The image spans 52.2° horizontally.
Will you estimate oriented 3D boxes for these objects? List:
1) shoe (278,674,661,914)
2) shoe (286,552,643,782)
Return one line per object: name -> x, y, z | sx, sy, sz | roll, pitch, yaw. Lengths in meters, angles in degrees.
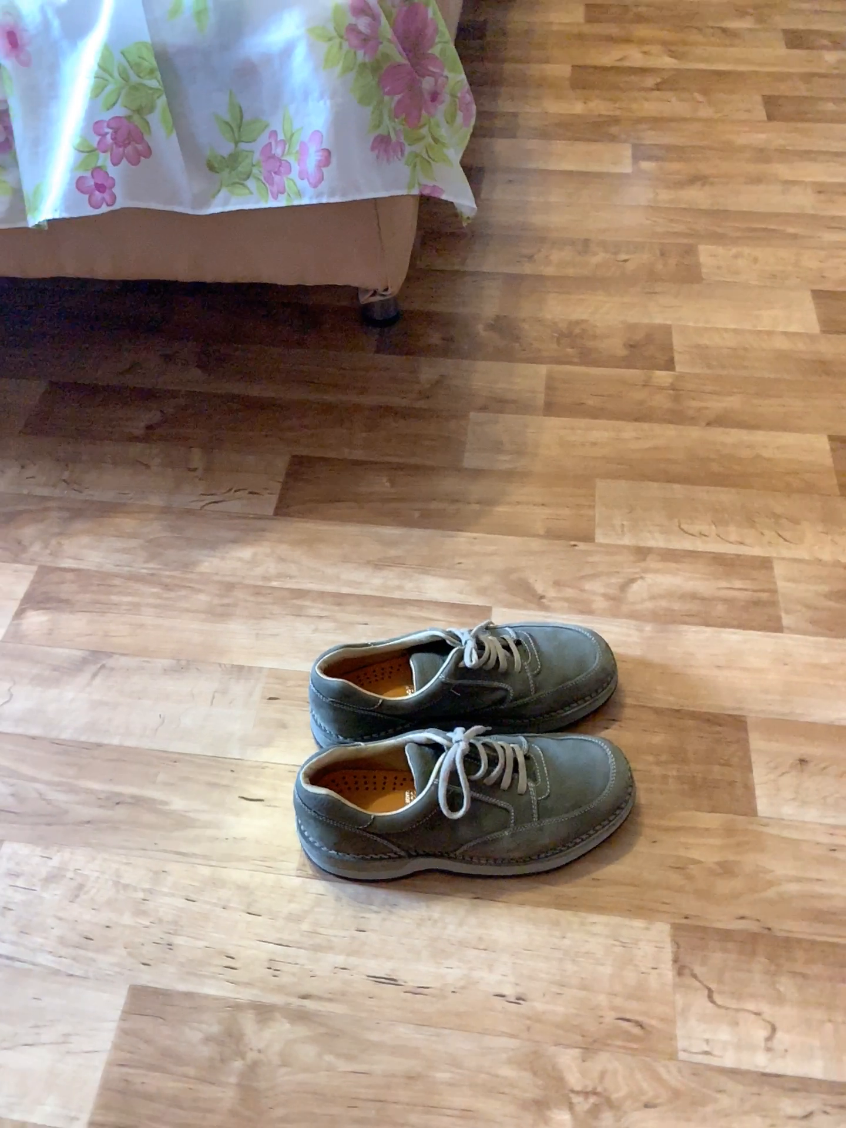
shoe -> 0.033, 0.197, 0.739 | 0.290, 0.120, 0.120 | -8, 52, -4
shoe -> 0.033, 0.093, 0.793 | 0.290, 0.110, 0.120 | -10, 52, -6
